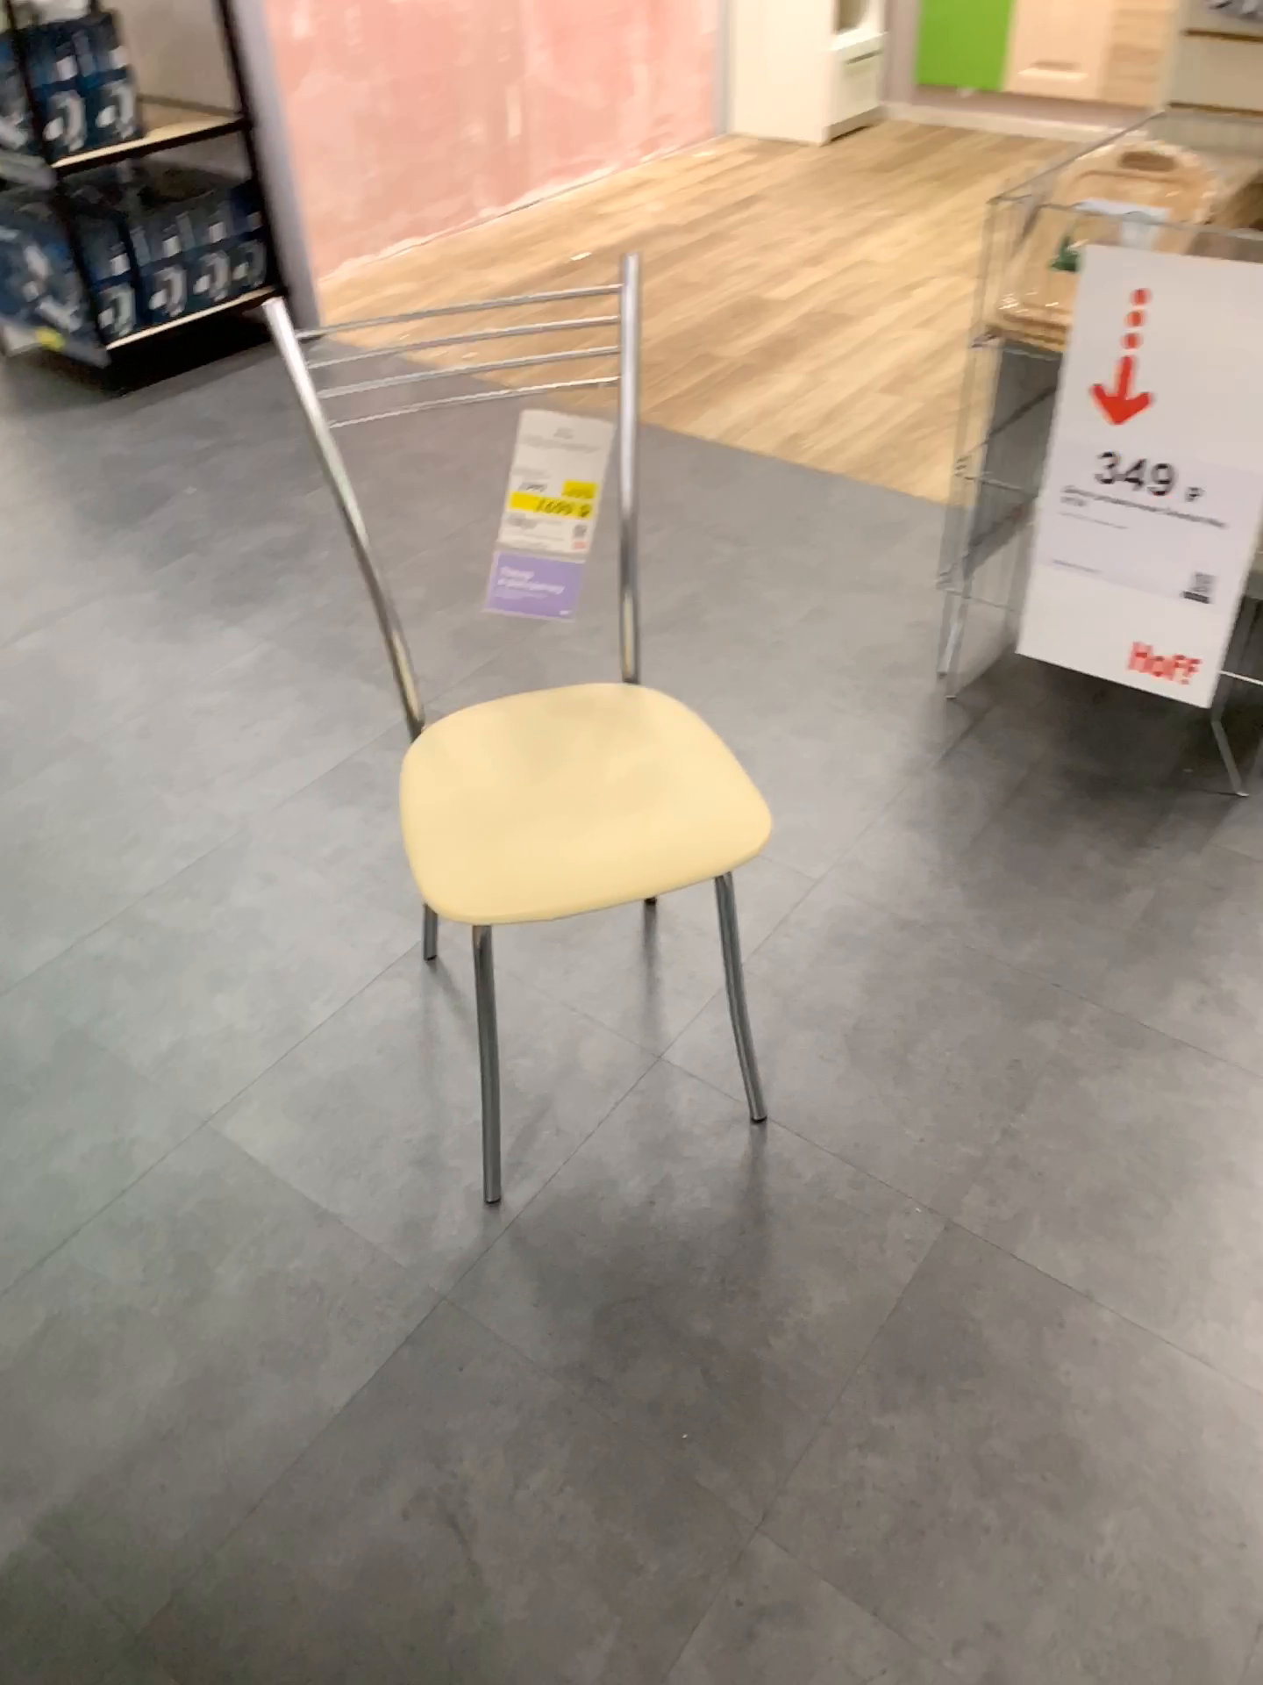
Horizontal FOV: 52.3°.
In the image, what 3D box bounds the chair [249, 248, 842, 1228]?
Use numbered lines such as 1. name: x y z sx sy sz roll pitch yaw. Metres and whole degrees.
1. chair: -0.094 -0.090 1.431 0.410 0.905 0.482 -13 41 -13
